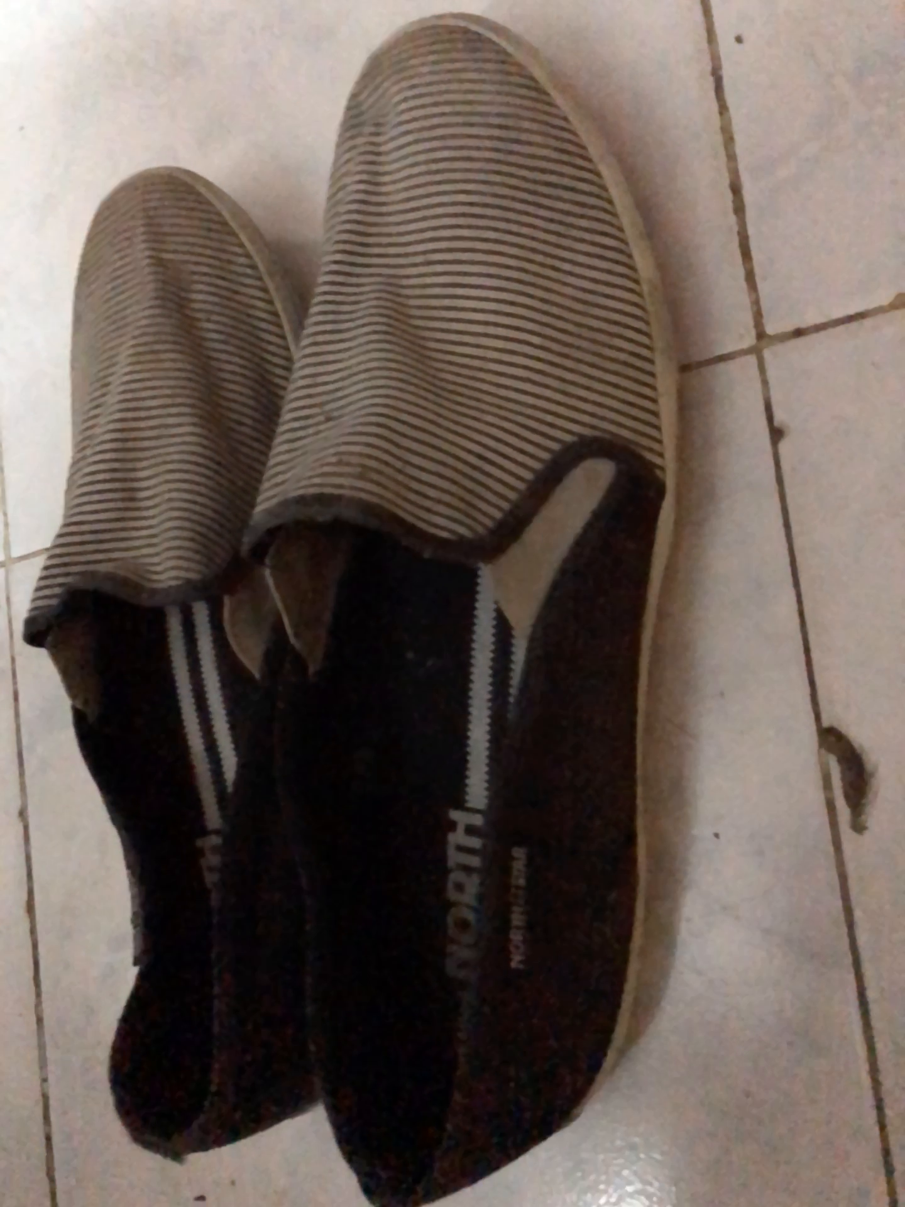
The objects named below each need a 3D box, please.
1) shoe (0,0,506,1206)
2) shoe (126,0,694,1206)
[{"bbox_3d":[-0.078,-0.004,0.310,0.110,0.090,0.330,-13,81,29],"label":"shoe"},{"bbox_3d":[-0.011,-0.012,0.262,0.110,0.090,0.340,-4,85,30],"label":"shoe"}]
